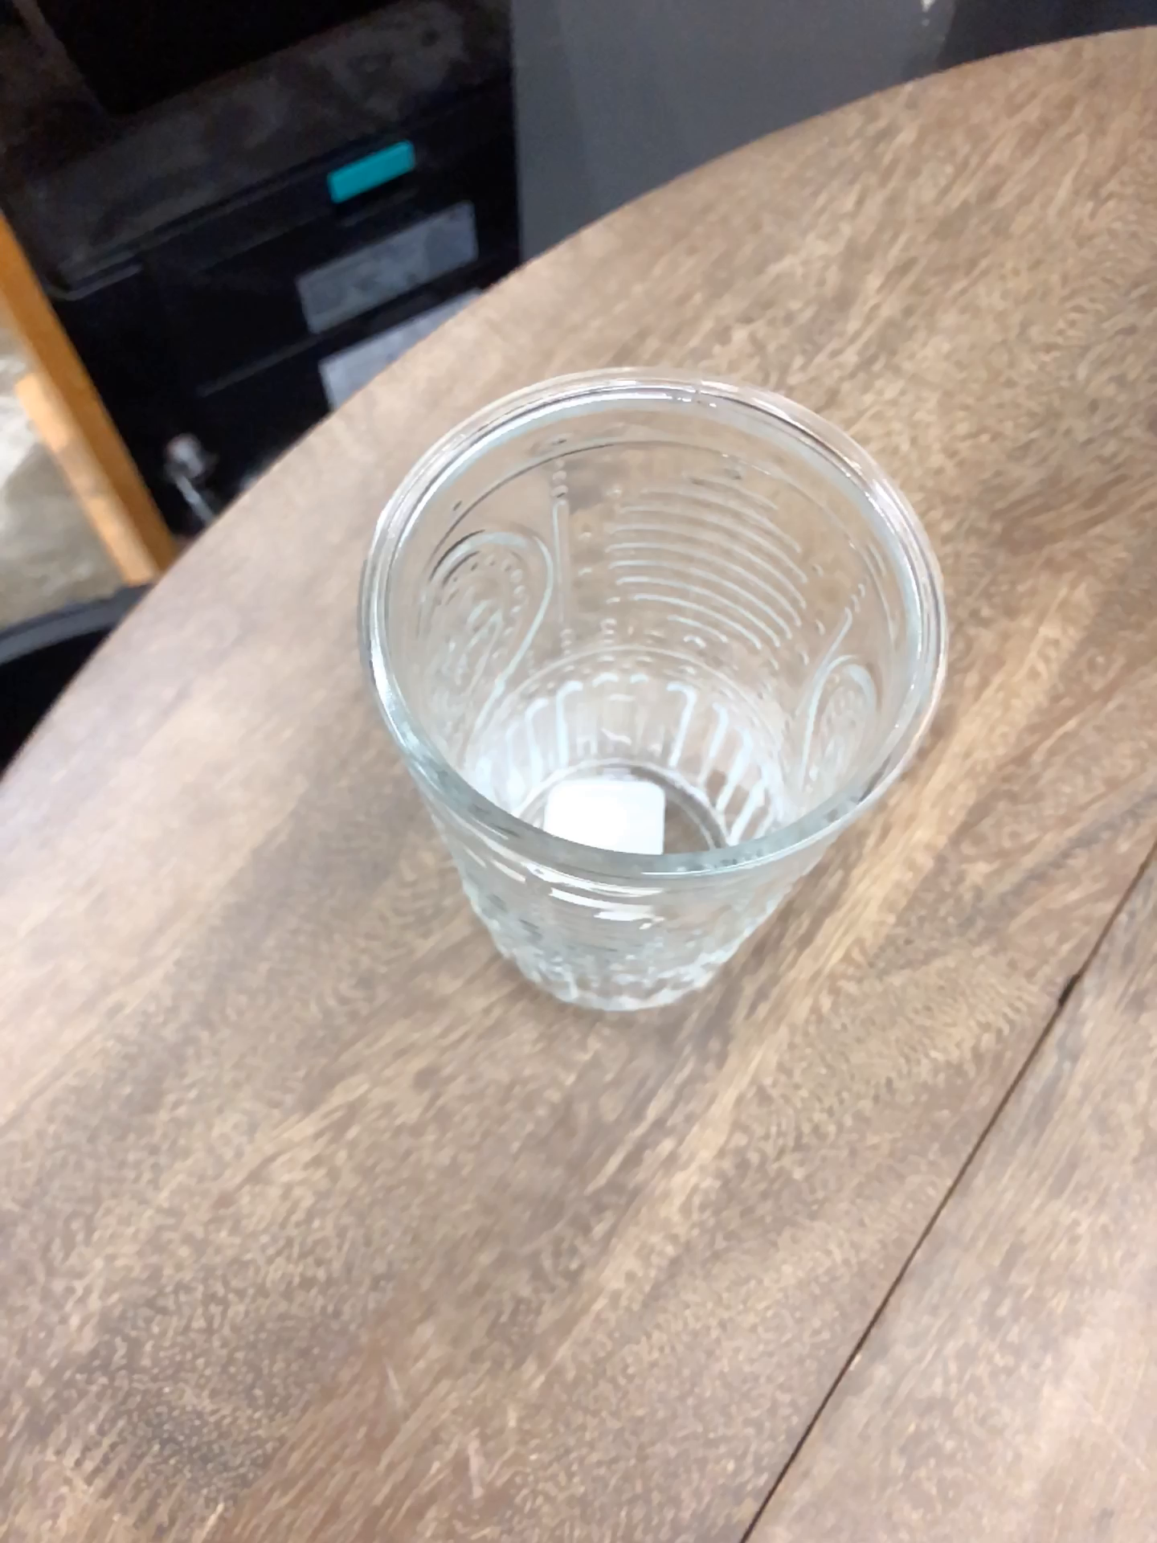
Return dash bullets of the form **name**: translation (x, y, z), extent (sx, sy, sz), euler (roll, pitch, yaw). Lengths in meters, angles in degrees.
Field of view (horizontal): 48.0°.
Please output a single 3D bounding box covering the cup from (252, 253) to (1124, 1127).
- **cup**: translation (0.012, -0.005, 0.223), extent (0.088, 0.107, 0.085), euler (0, 67, 0)
